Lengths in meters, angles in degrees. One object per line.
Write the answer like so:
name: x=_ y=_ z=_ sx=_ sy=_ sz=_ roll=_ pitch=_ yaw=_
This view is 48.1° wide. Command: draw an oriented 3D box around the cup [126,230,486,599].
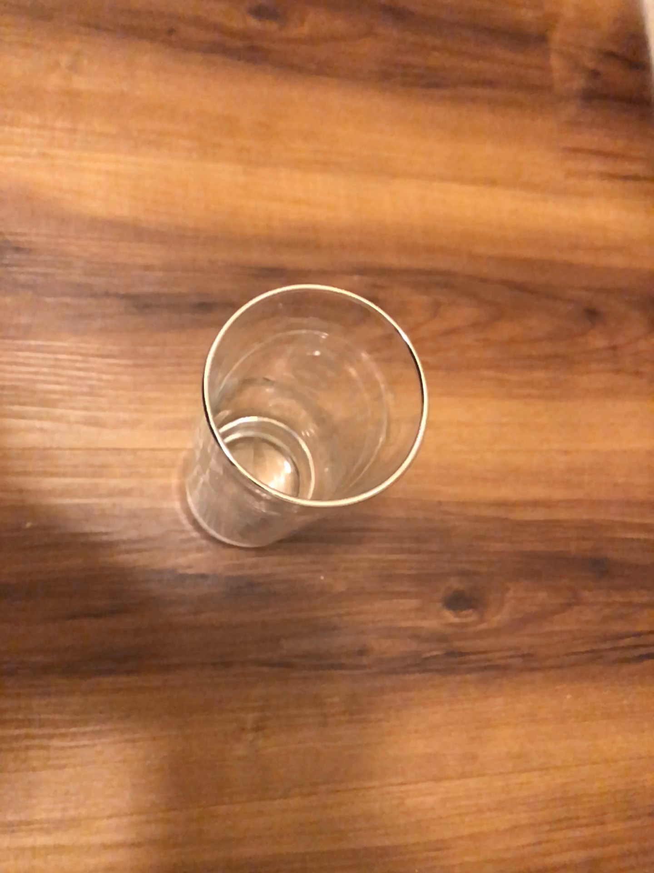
cup: x=-0.020 y=0.007 z=0.262 sx=0.068 sy=0.151 sz=0.067 roll=3 pitch=76 yaw=-13
